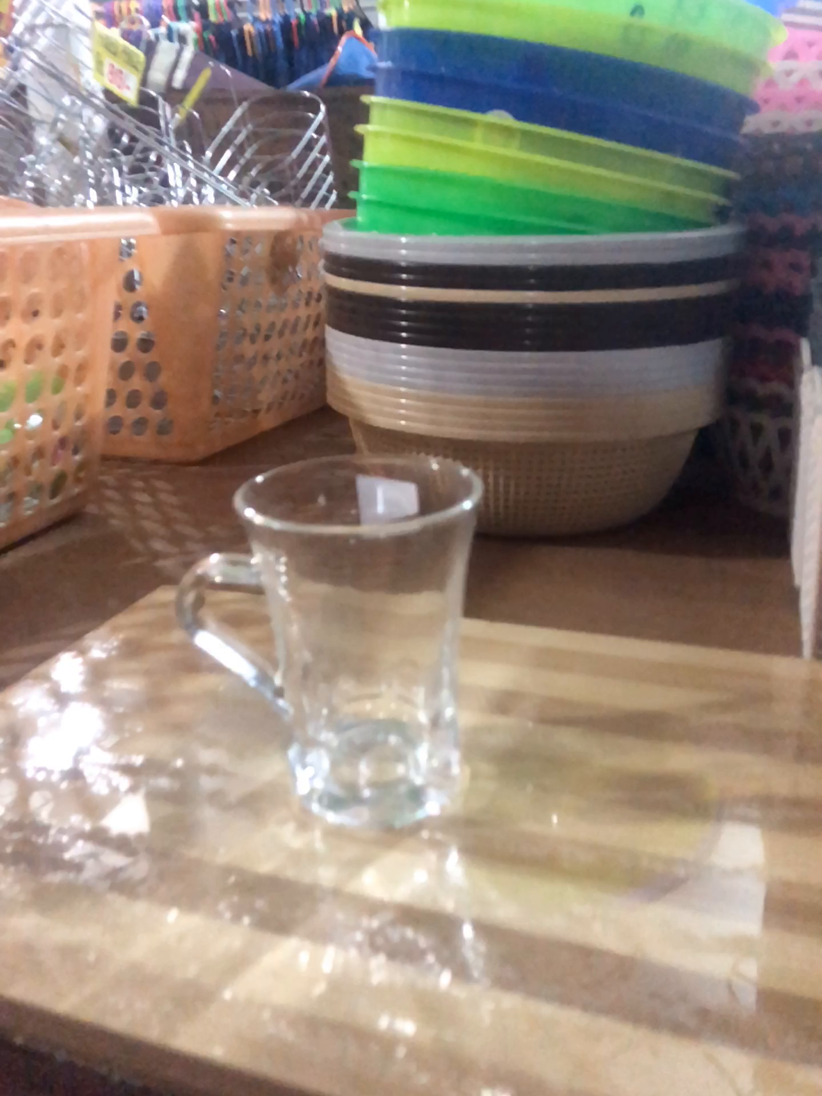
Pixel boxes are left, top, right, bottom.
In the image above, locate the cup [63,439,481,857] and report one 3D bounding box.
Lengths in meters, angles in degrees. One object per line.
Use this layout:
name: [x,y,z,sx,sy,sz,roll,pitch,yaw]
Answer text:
cup: [-0.030,0.022,0.246,0.090,0.090,0.060,3,21,12]
